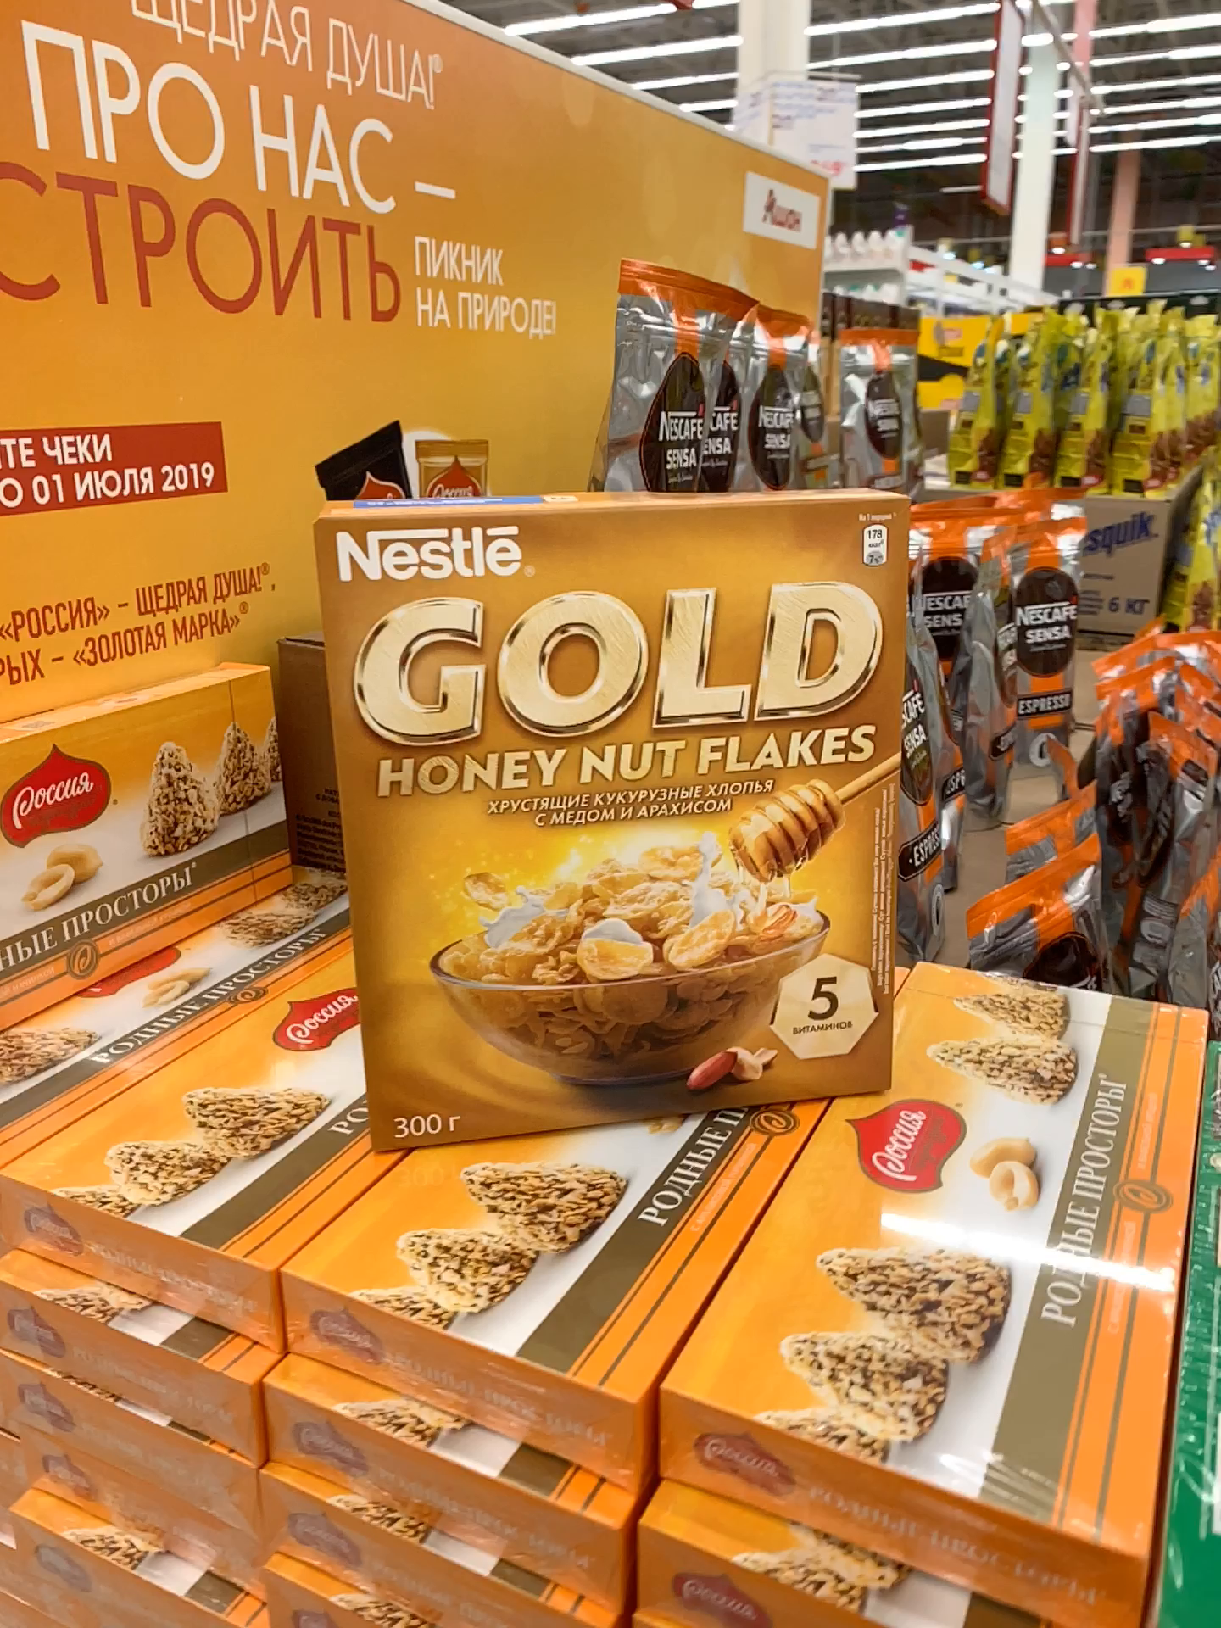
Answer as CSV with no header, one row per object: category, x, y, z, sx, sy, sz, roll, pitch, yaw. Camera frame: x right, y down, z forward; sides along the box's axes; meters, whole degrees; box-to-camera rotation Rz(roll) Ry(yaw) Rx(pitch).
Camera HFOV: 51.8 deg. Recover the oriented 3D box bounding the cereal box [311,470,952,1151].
cereal box,0.006,-0.005,0.445,0.200,0.219,0.060,-4,18,-11
